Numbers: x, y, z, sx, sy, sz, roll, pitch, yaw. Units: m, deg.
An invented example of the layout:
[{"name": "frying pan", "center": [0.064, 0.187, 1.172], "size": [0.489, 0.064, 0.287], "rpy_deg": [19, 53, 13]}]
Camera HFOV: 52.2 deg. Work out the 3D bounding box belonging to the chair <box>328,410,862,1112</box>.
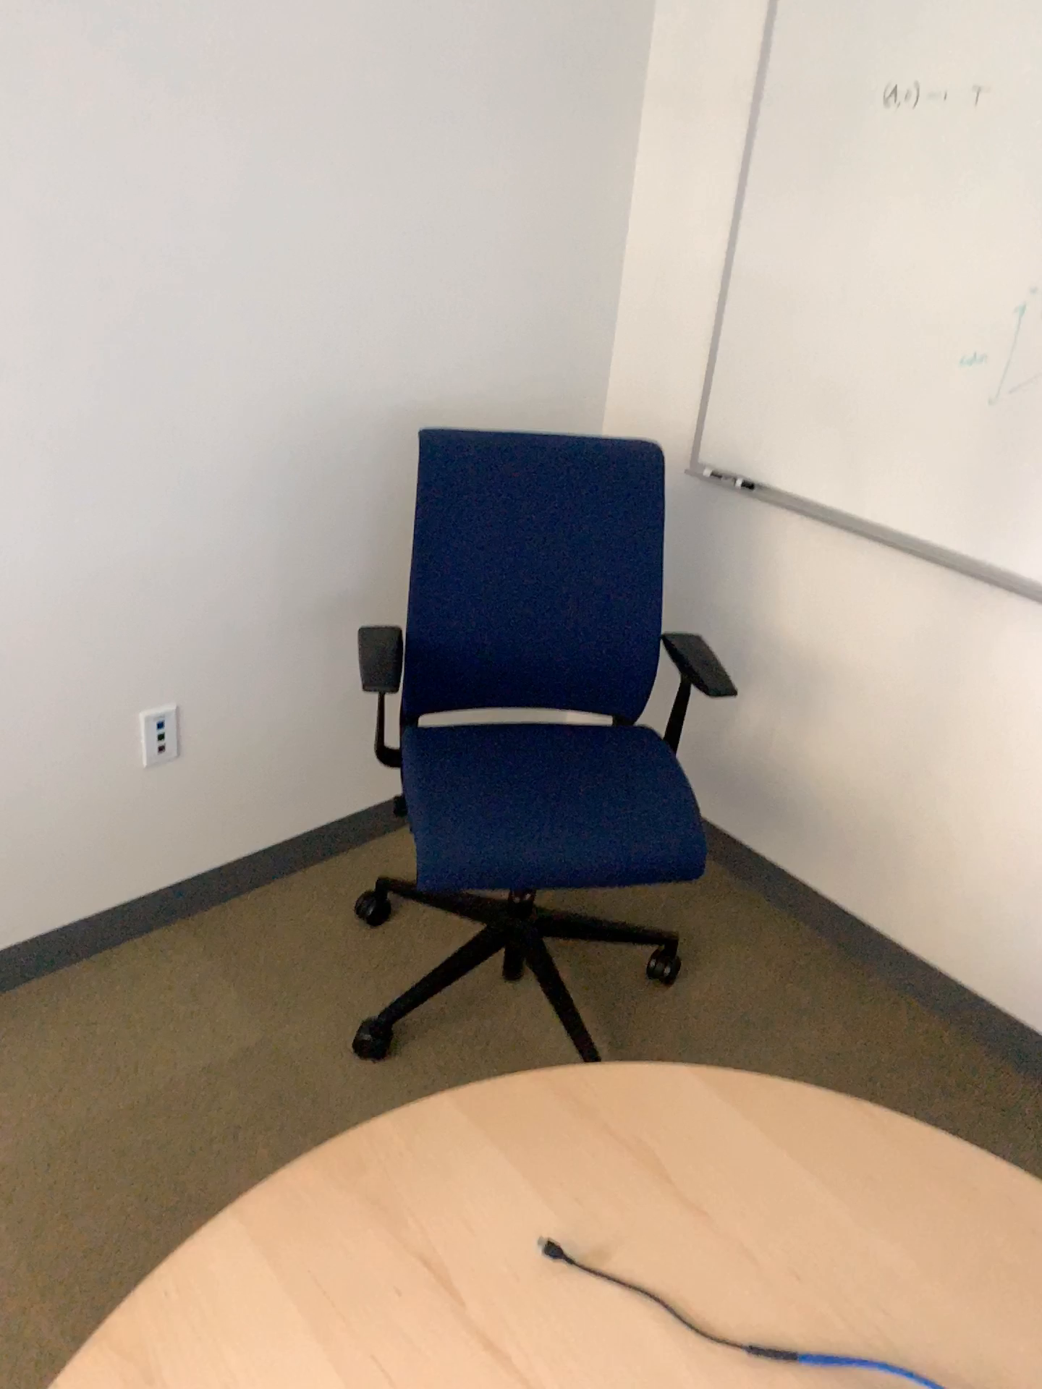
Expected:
[{"name": "chair", "center": [0.029, 0.076, 2.117], "size": [0.740, 0.994, 0.986], "rpy_deg": [2, 28, -7]}]
